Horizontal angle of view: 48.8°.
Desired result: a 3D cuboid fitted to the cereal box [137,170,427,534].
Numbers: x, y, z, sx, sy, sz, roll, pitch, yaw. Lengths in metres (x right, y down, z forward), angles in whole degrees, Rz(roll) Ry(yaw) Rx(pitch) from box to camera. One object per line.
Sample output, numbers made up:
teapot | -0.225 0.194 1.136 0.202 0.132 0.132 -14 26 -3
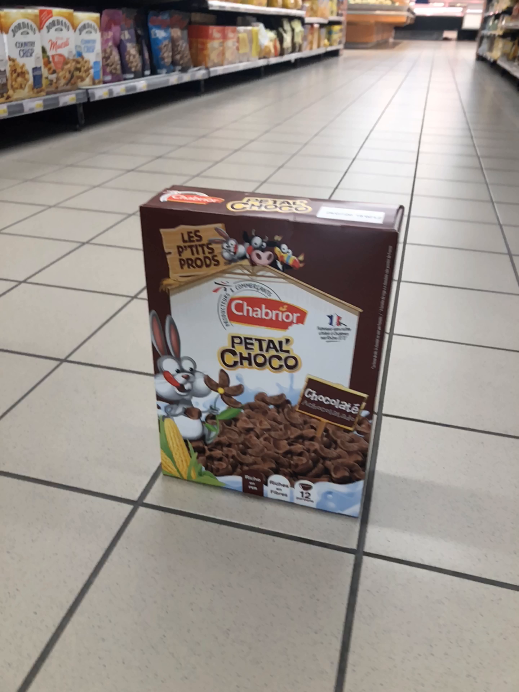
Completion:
cereal box | 0.015 0.009 0.481 0.200 0.278 0.070 8 29 13
